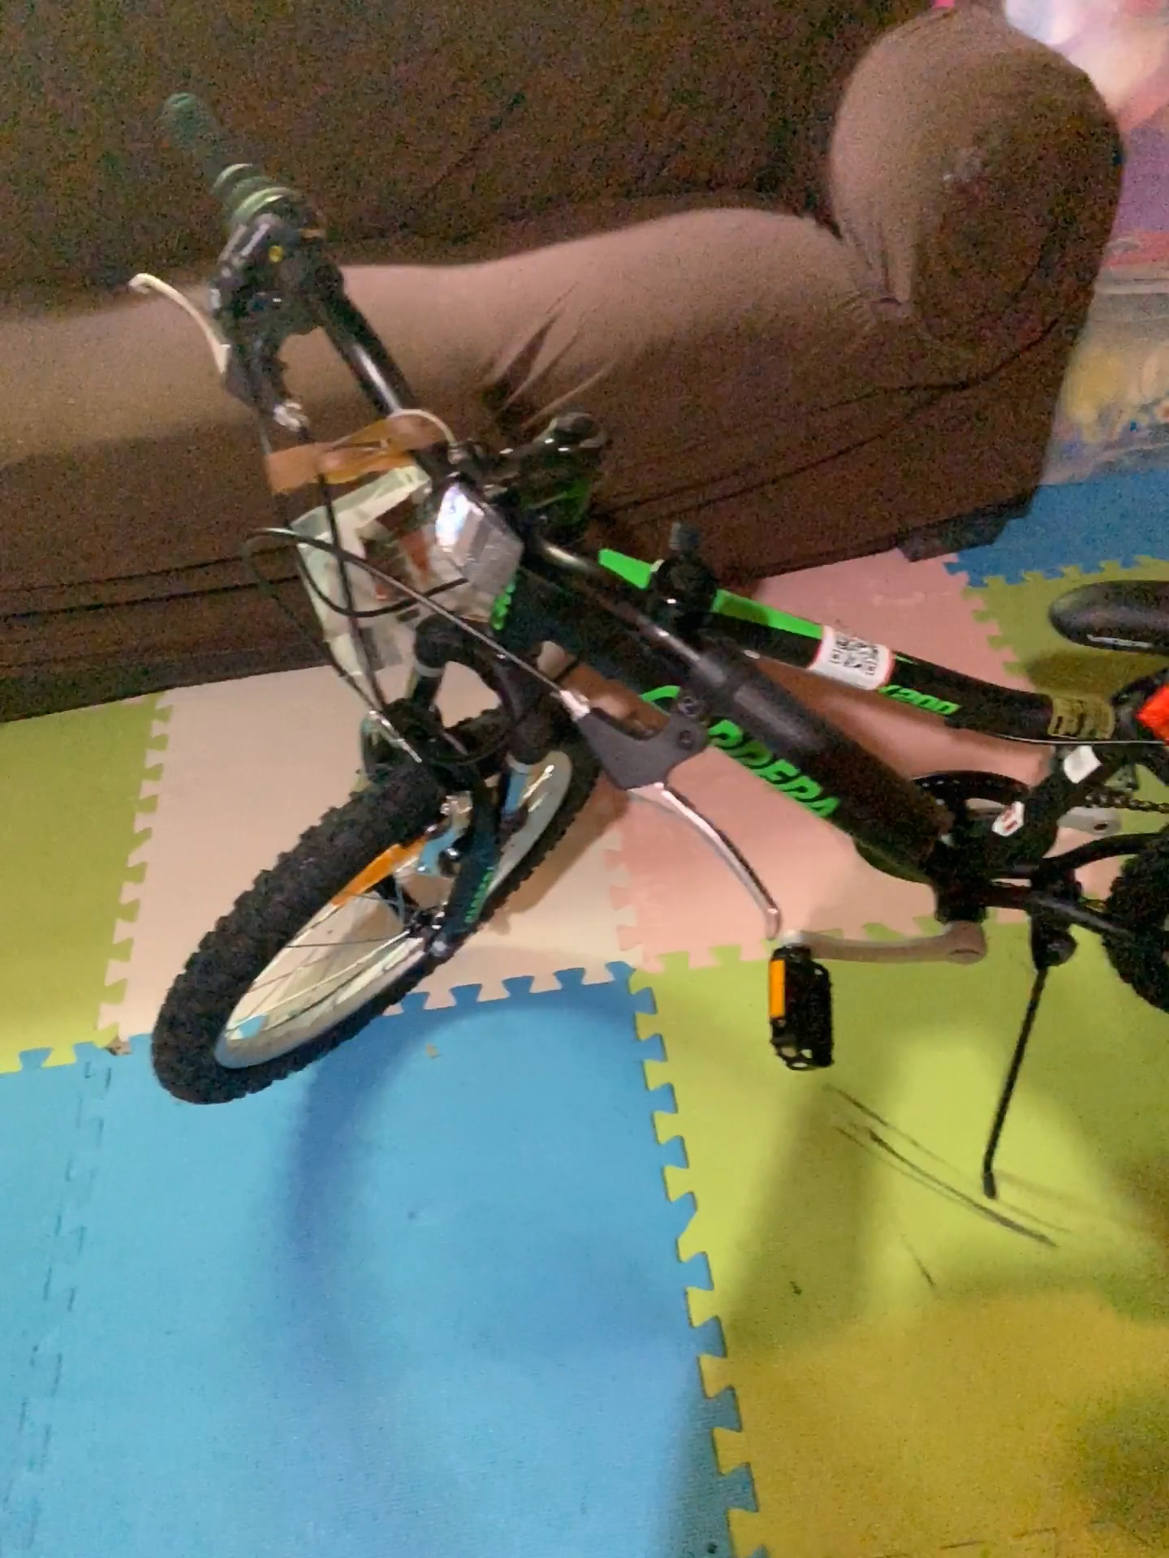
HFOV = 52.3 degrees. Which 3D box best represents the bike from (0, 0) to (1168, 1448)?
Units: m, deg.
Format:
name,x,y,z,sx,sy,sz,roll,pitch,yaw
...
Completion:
name,x,y,z,sx,sy,sz,roll,pitch,yaw
bike,0.262,0.019,0.868,1.268,0.841,0.536,-6,45,4
